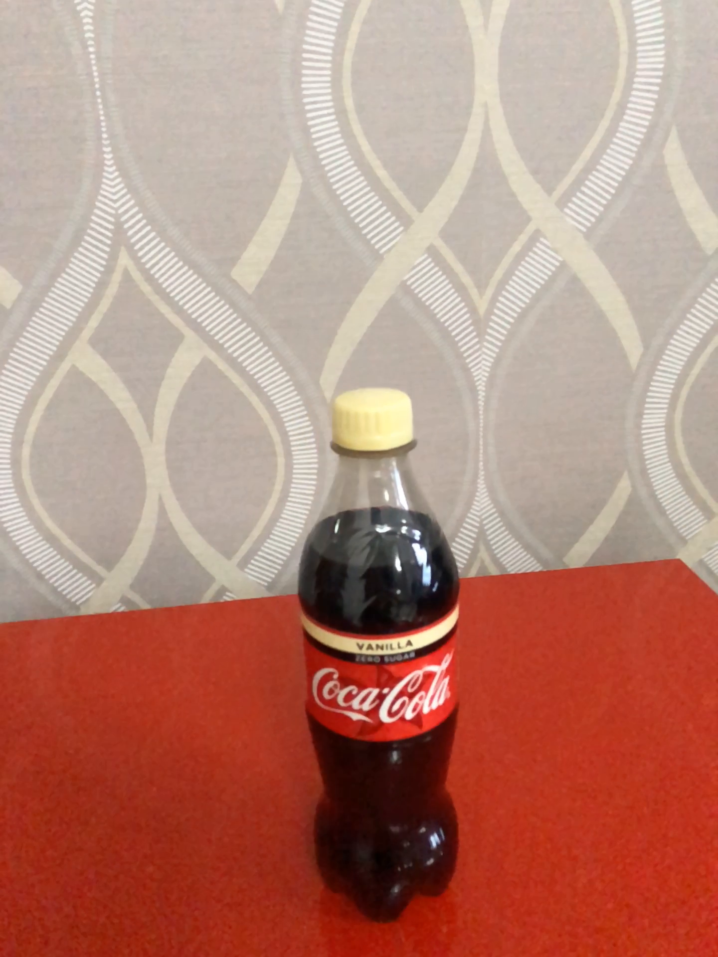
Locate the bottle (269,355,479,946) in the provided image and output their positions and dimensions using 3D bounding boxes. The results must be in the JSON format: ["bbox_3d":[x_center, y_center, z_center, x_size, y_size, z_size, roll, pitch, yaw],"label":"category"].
[{"bbox_3d":[0.008,0.076,0.342,0.070,0.239,0.080,-4,21,-3],"label":"bottle"}]
